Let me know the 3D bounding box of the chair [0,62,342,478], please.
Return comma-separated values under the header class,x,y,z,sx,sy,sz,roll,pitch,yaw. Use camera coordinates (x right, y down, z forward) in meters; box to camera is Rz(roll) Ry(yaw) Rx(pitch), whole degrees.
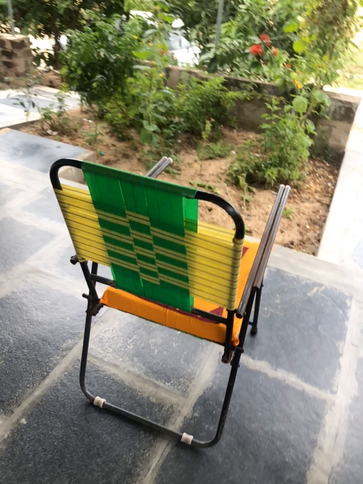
class,x,y,z,sx,sy,sz,roll,pitch,yaw
chair,-0.008,0.027,1.166,0.660,0.825,0.684,15,37,15
